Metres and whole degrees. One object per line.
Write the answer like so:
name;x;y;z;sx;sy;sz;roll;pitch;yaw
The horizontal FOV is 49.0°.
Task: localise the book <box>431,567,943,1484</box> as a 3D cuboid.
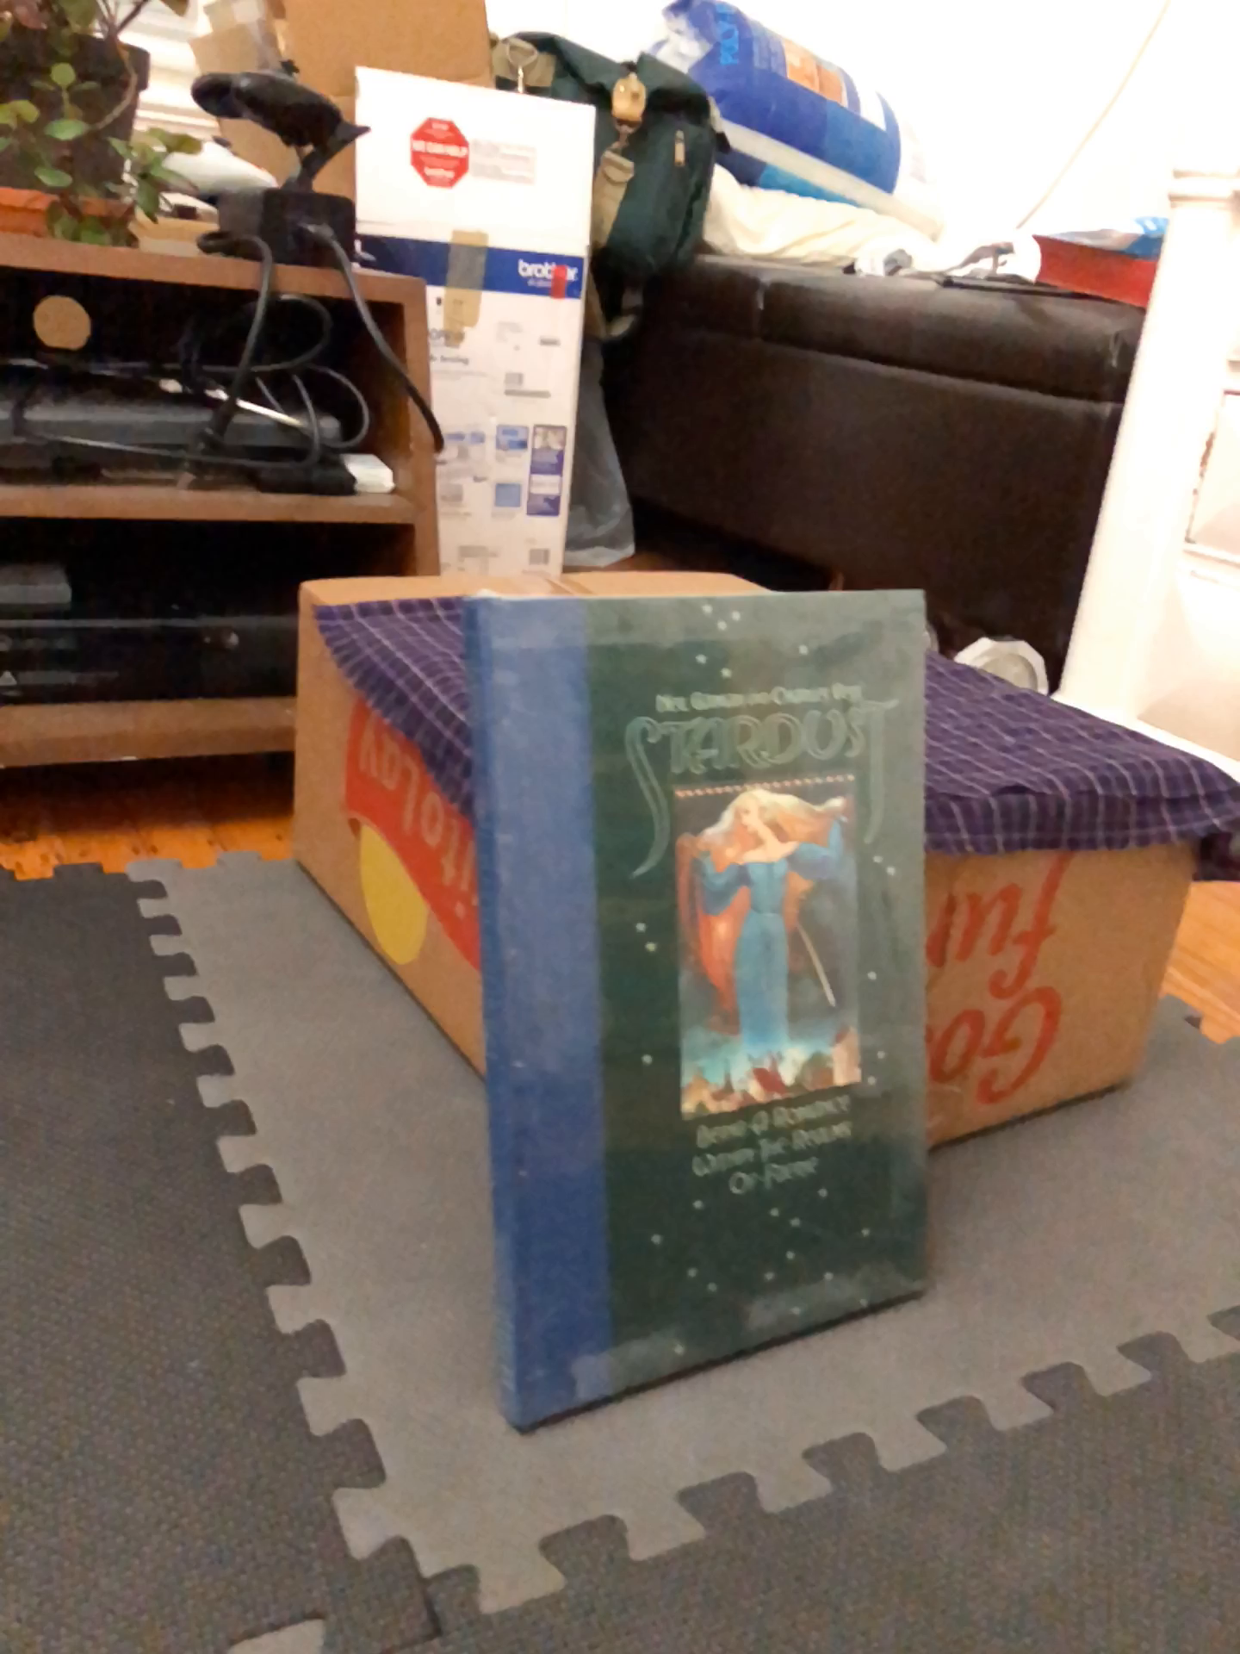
book;0.038;0.067;0.541;0.210;0.329;0.020;-7;8;-29
